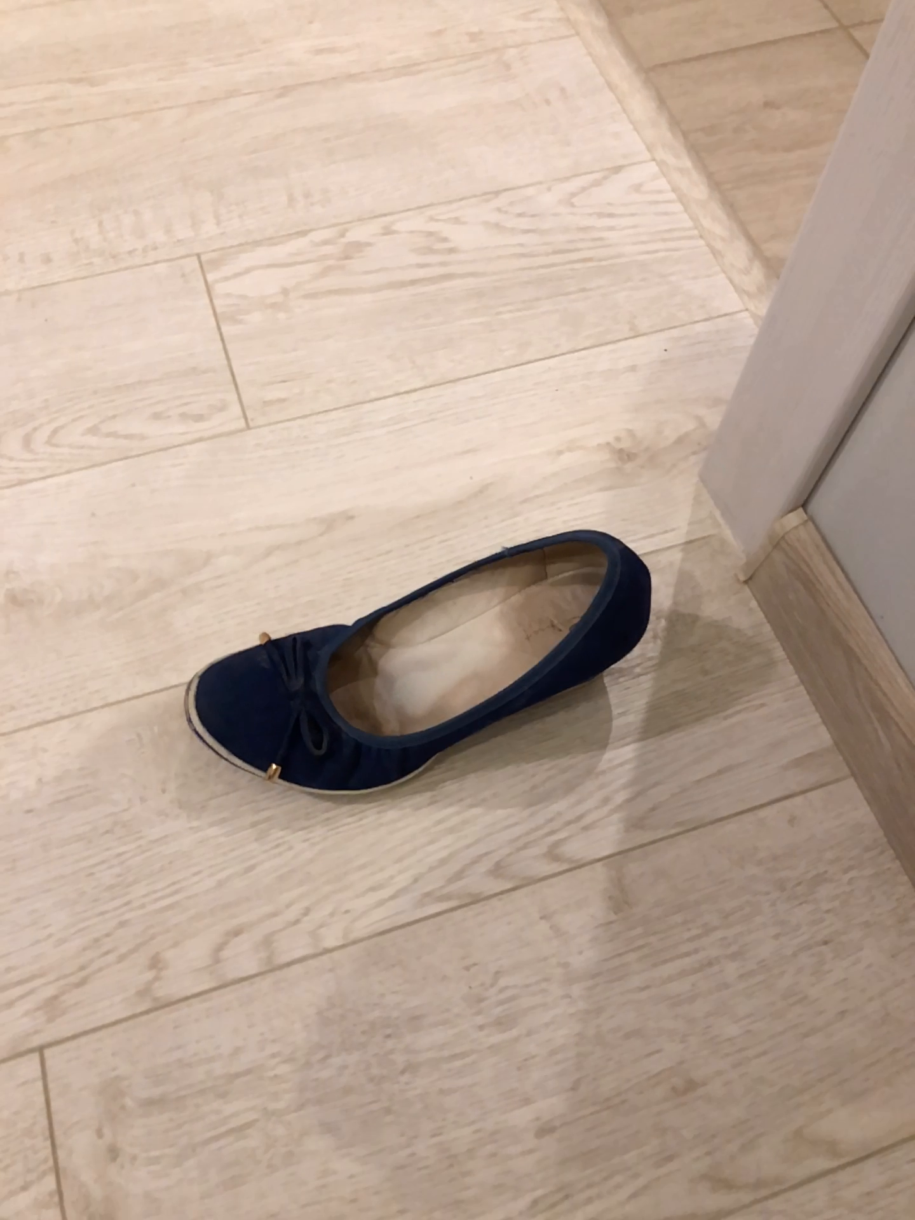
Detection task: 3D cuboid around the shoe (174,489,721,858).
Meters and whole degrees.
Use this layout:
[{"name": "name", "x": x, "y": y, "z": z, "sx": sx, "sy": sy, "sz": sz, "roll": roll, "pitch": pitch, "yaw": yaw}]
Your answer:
[{"name": "shoe", "x": -0.007, "y": 0.033, "z": 0.502, "sx": 0.230, "sy": 0.109, "sz": 0.099, "roll": -13, "pitch": 63, "yaw": -8}]
